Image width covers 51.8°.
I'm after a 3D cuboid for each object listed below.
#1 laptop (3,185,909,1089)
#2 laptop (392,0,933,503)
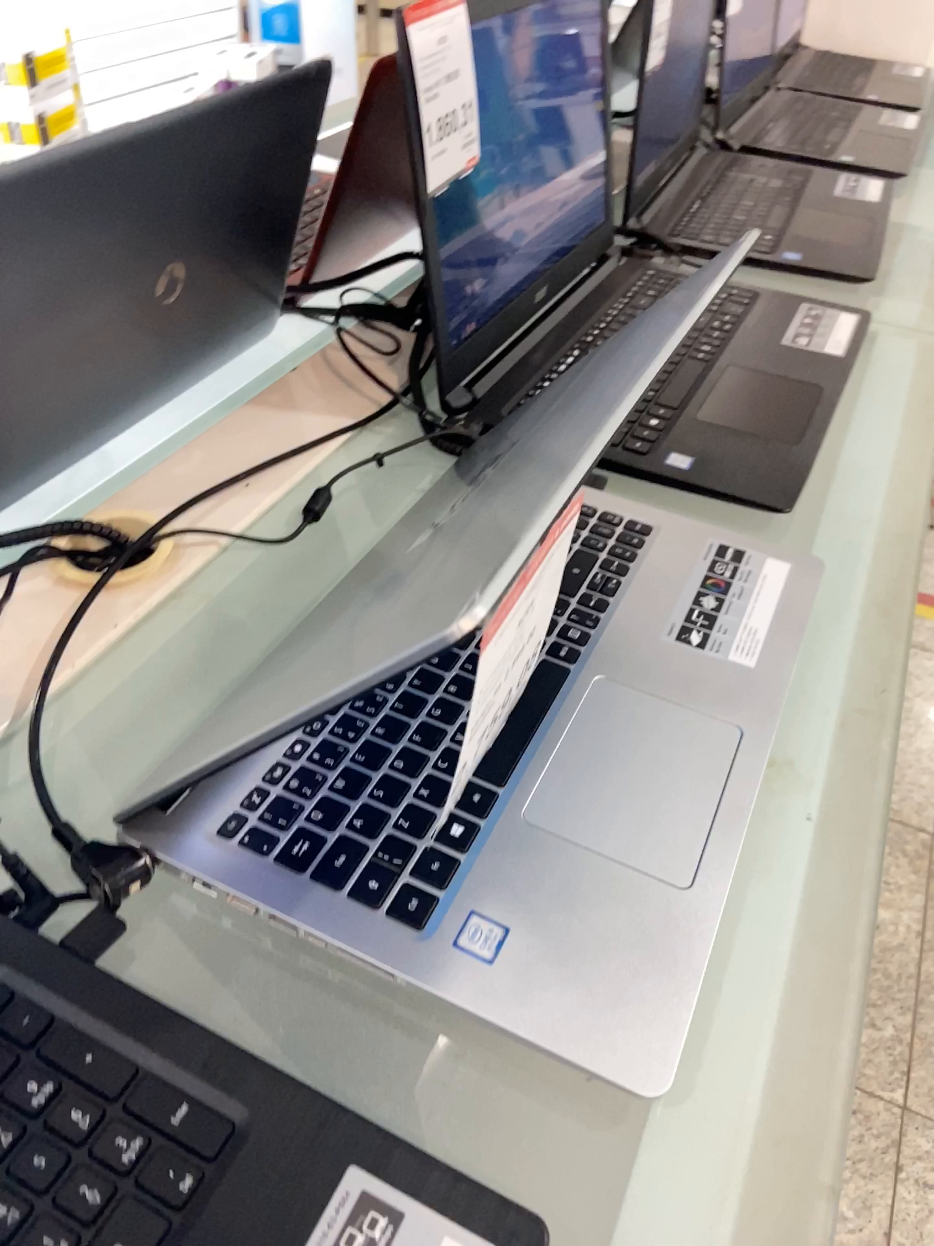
[{"bbox_3d":[0.037,-0.043,0.438,0.236,0.175,0.354,19,42,16],"label":"laptop"},{"bbox_3d":[0.163,-0.317,0.721,0.288,0.238,0.356,20,43,17],"label":"laptop"}]
